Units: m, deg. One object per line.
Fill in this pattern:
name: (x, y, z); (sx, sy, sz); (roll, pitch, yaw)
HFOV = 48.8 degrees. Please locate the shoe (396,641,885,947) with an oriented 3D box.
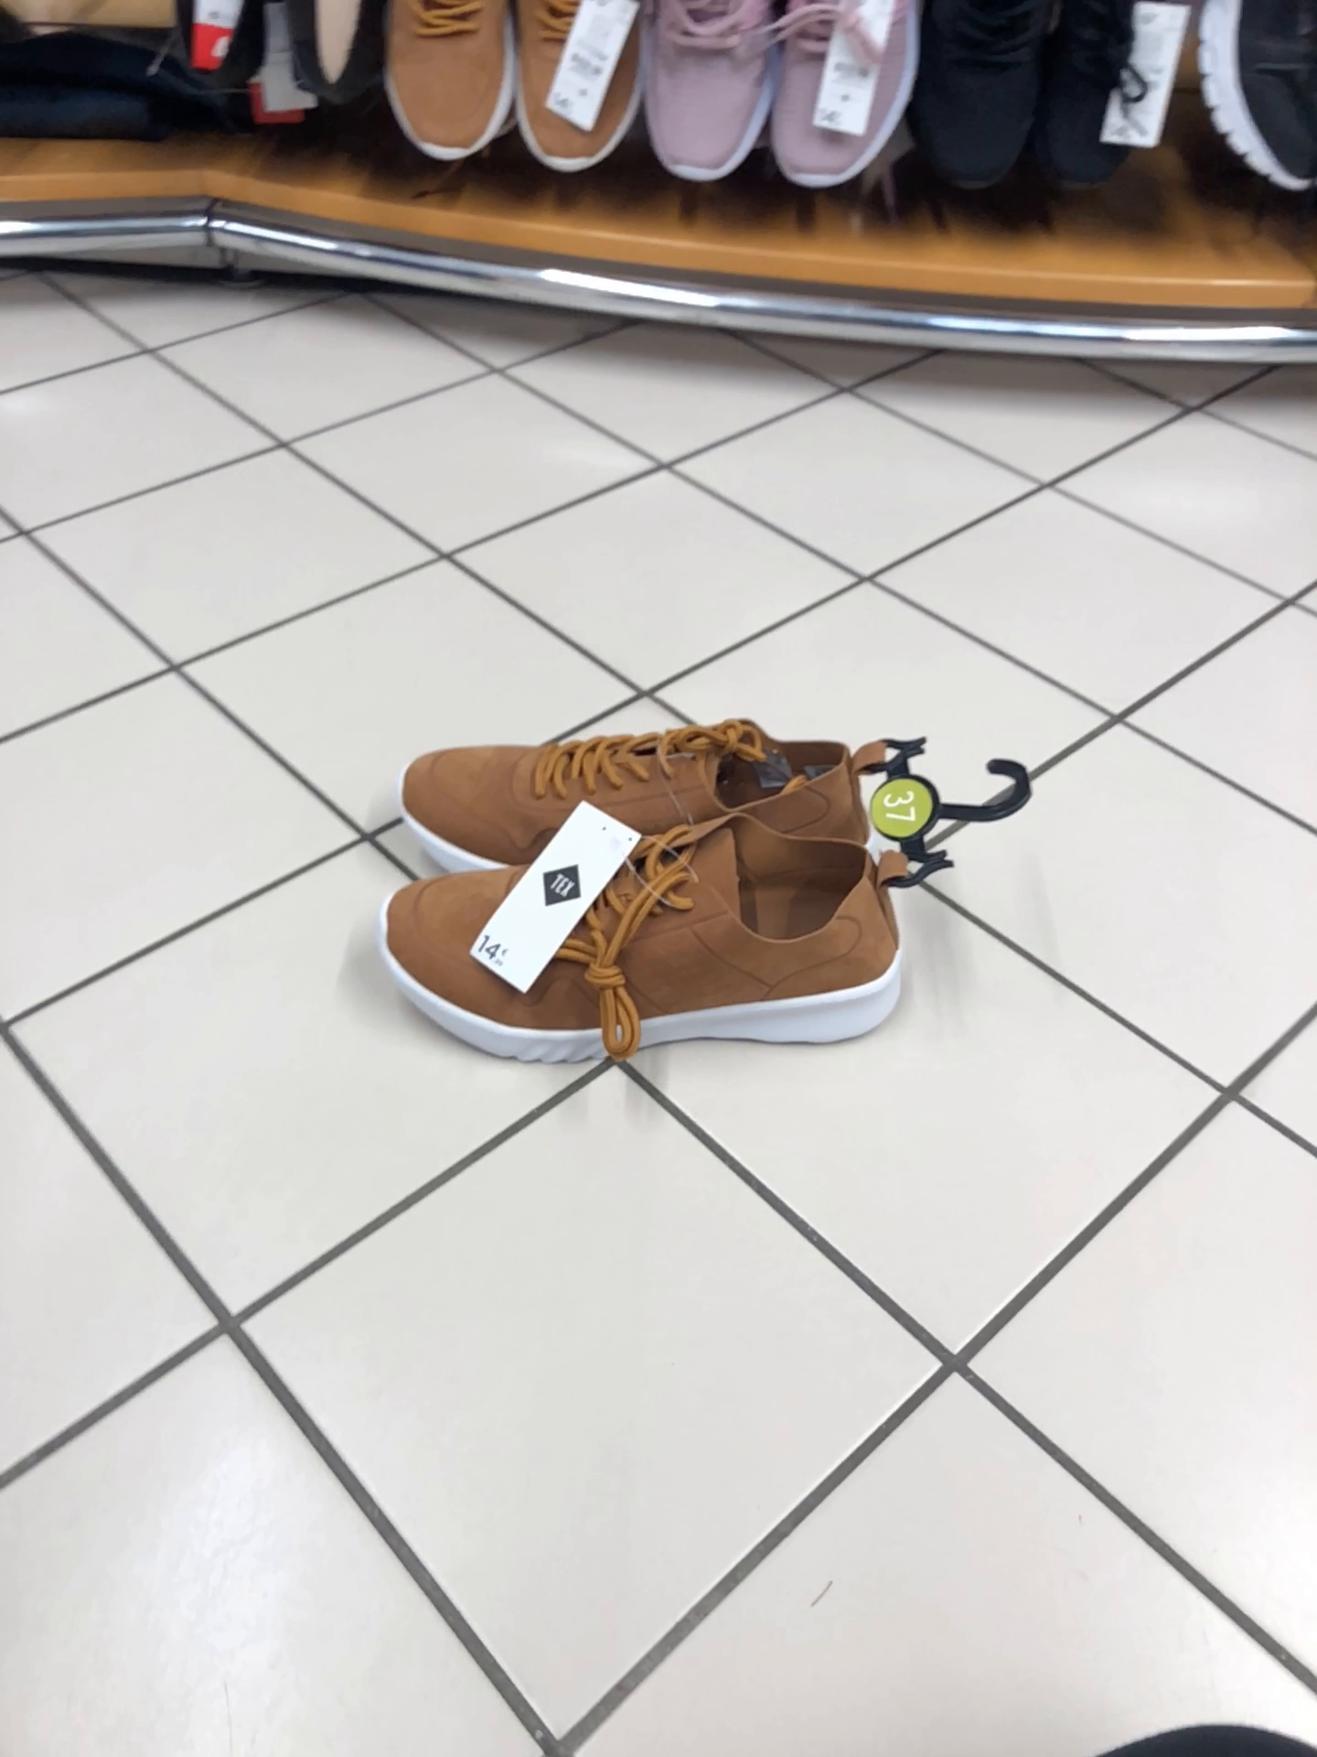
shoe: (-0.007, -0.042, 0.718); (0.220, 0.099, 0.091); (5, 43, 1)

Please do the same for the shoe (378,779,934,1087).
shoe: (-0.002, 0.026, 0.667); (0.230, 0.099, 0.090); (2, 43, -2)
